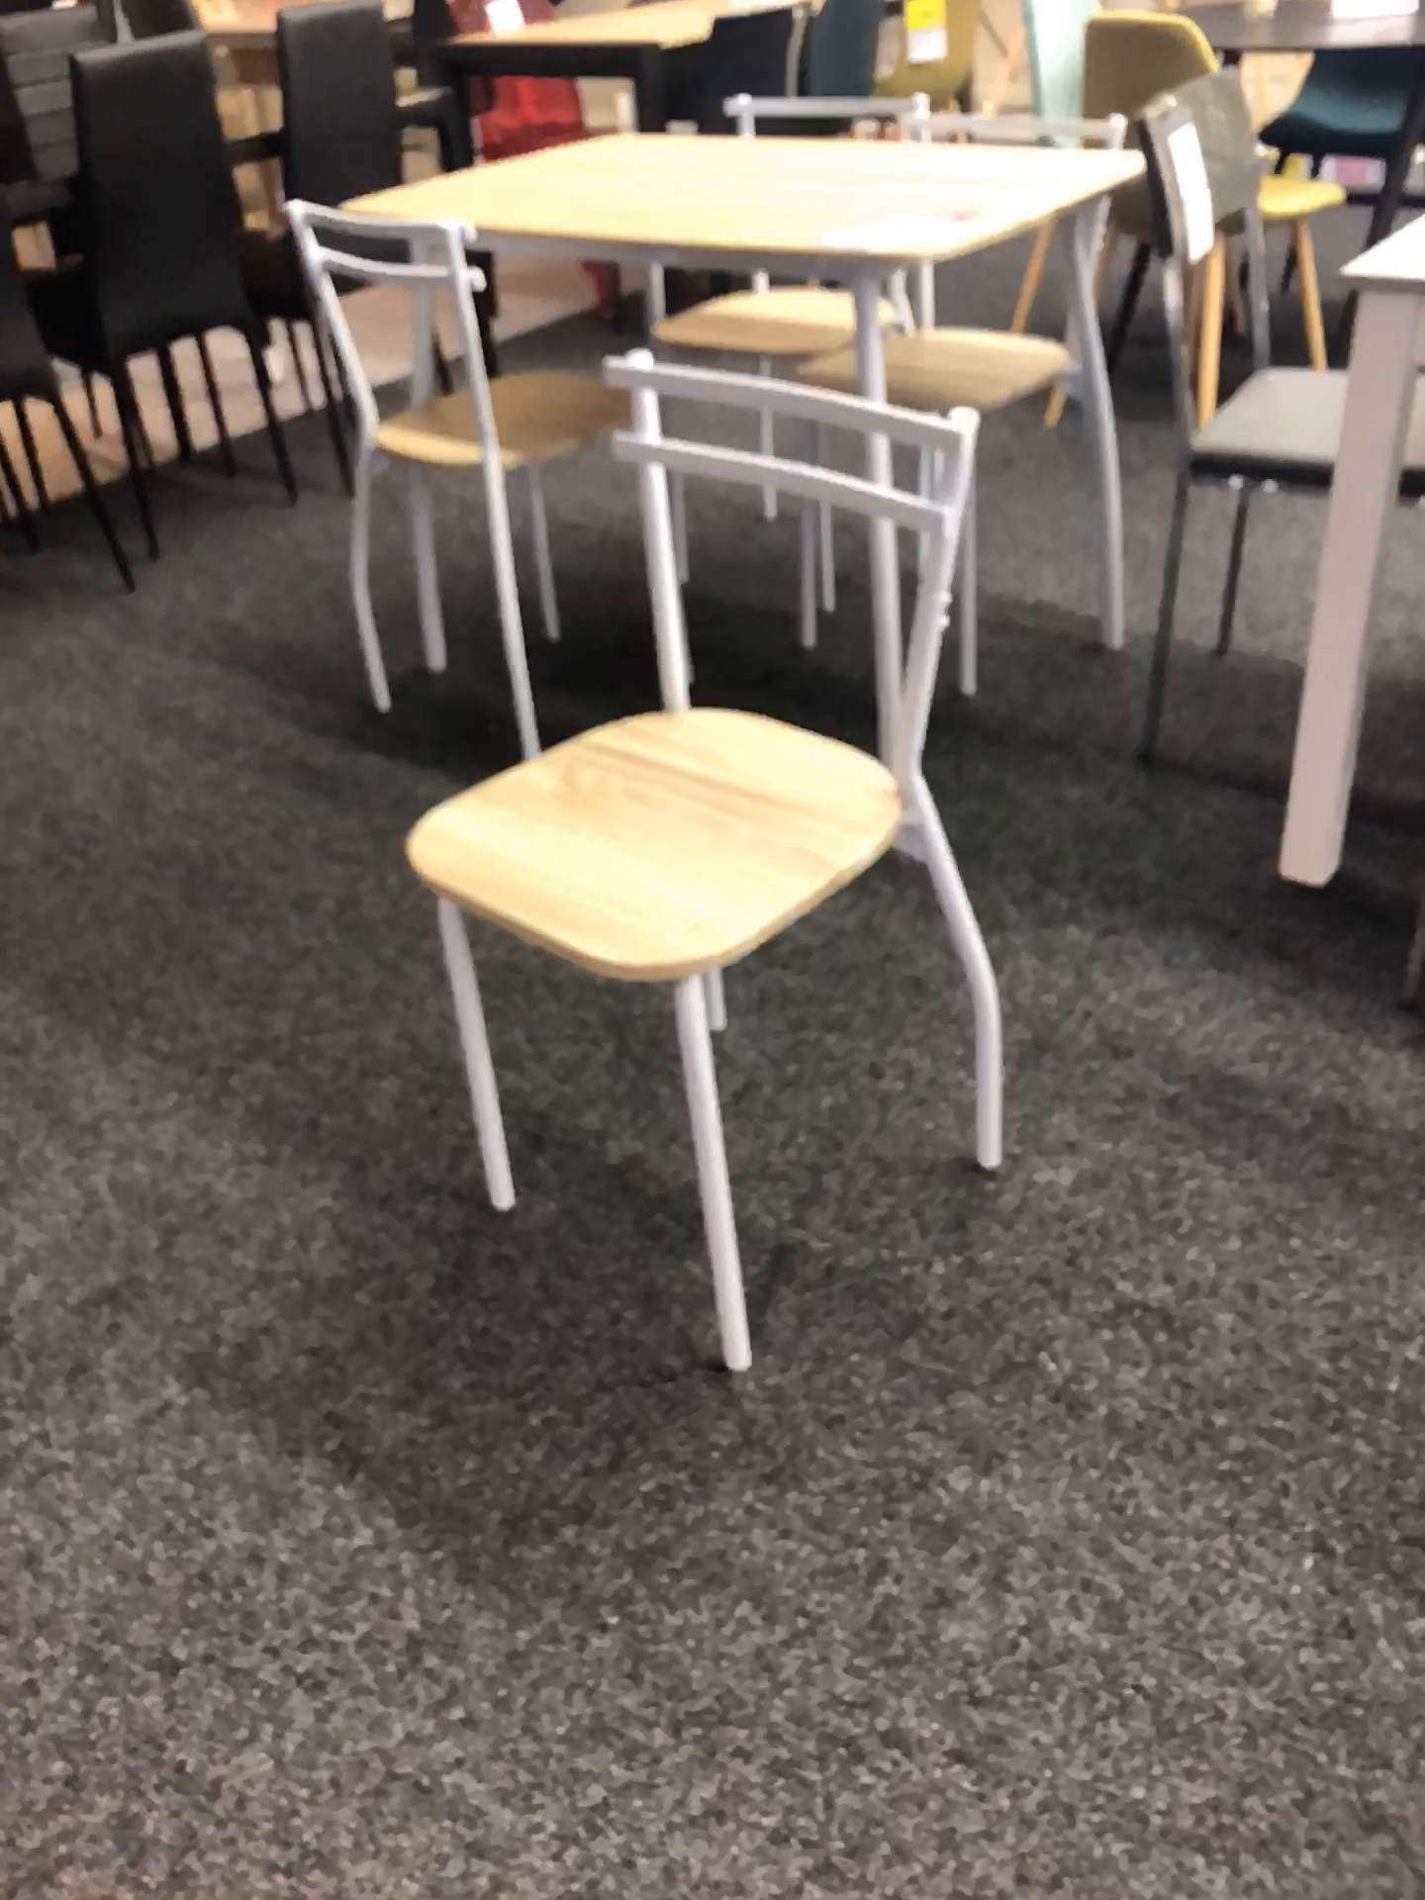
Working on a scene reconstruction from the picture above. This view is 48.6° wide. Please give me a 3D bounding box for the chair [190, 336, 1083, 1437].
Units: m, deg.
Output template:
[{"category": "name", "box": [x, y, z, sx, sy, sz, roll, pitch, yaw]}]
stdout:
[{"category": "chair", "box": [-0.029, -0.080, 1.377, 0.500, 0.726, 0.443, 21, 42, 33]}]
